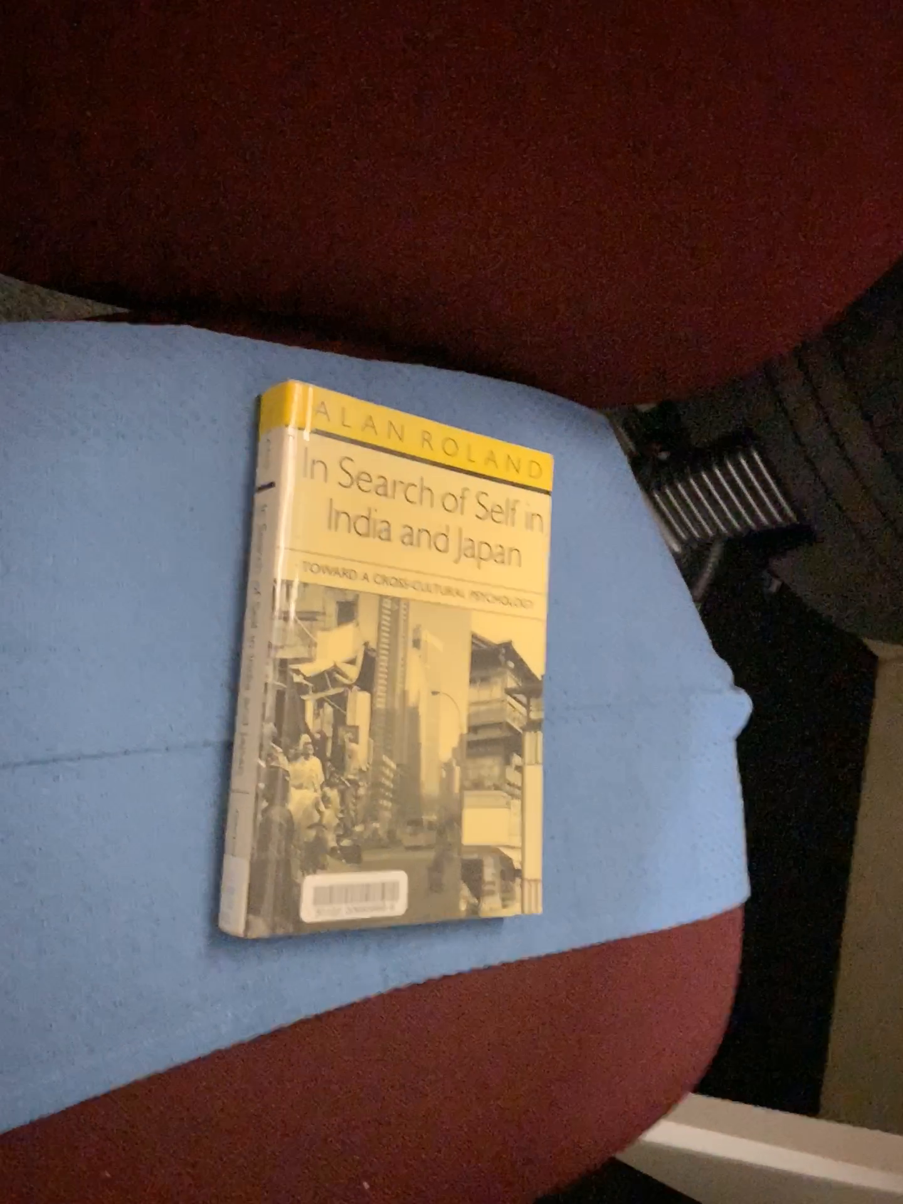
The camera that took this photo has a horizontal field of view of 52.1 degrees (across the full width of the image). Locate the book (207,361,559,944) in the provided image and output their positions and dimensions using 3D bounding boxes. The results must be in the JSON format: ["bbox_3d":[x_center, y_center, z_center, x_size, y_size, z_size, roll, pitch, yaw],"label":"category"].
[{"bbox_3d":[-0.021,0.026,0.423,0.156,0.032,0.232,10,77,-35],"label":"book"}]
